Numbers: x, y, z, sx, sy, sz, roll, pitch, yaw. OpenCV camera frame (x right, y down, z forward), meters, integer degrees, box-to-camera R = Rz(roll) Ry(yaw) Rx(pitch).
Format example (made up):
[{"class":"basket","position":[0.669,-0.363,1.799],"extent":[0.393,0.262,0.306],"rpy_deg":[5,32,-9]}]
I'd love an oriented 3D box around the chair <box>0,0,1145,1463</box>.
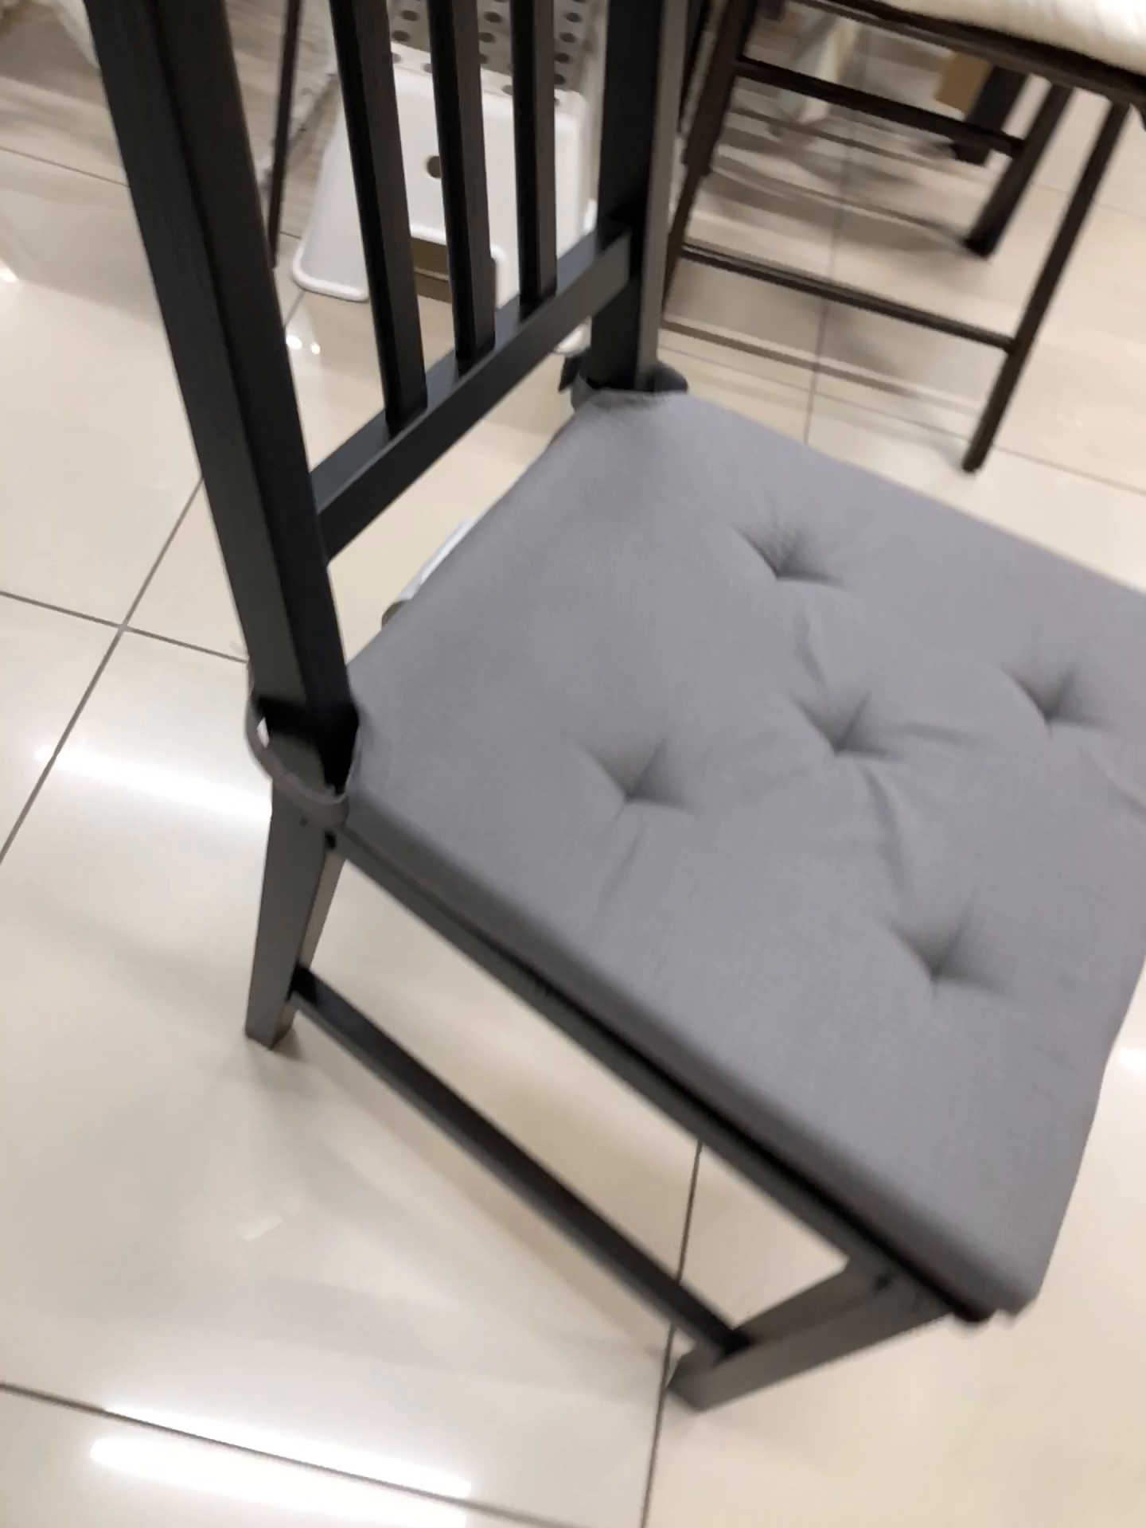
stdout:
[{"class":"chair","position":[0.078,-0.011,0.635],"extent":[0.460,0.855,0.402],"rpy_deg":[30,56,8]}]
